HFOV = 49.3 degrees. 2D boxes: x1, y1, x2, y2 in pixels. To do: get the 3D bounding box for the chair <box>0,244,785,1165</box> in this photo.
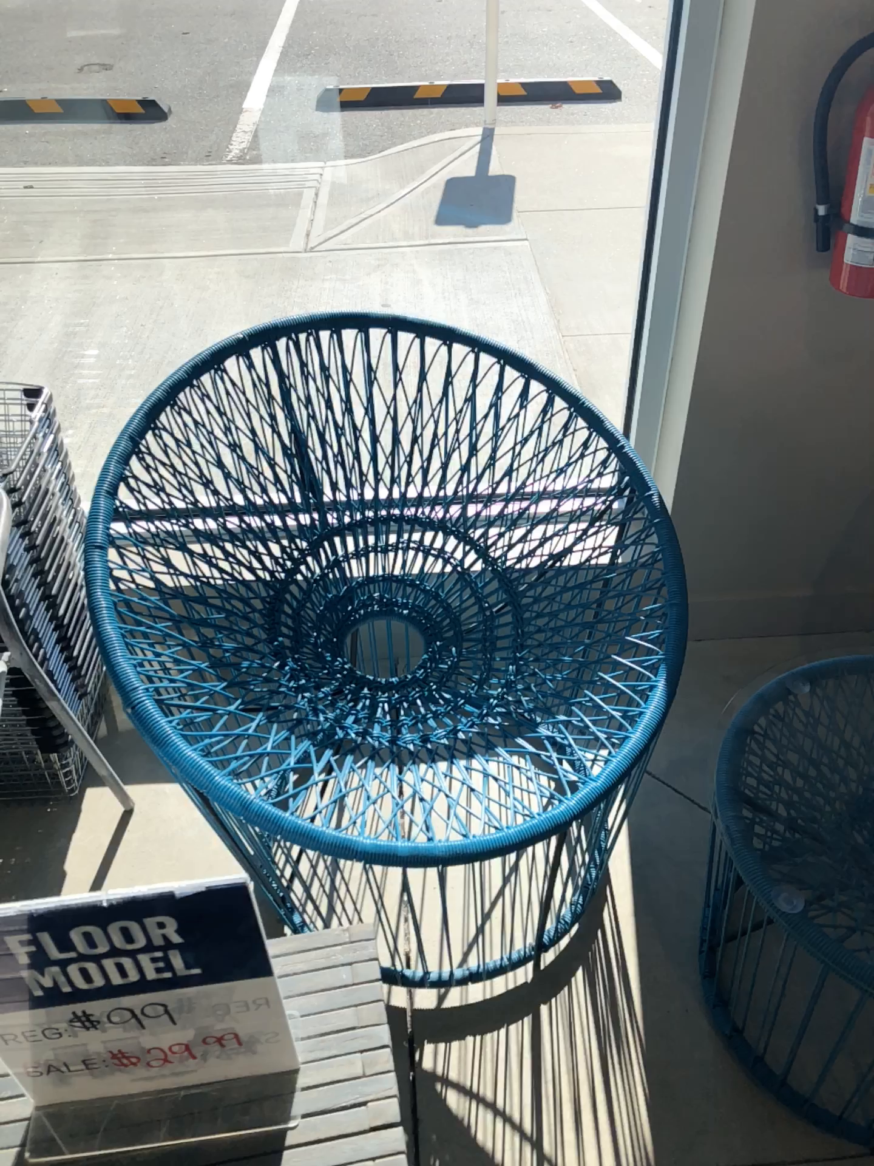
[{"bbox_3d":[-0.086,0.165,1.418,0.721,0.993,0.664,-26,45,-27],"label":"chair"}]
